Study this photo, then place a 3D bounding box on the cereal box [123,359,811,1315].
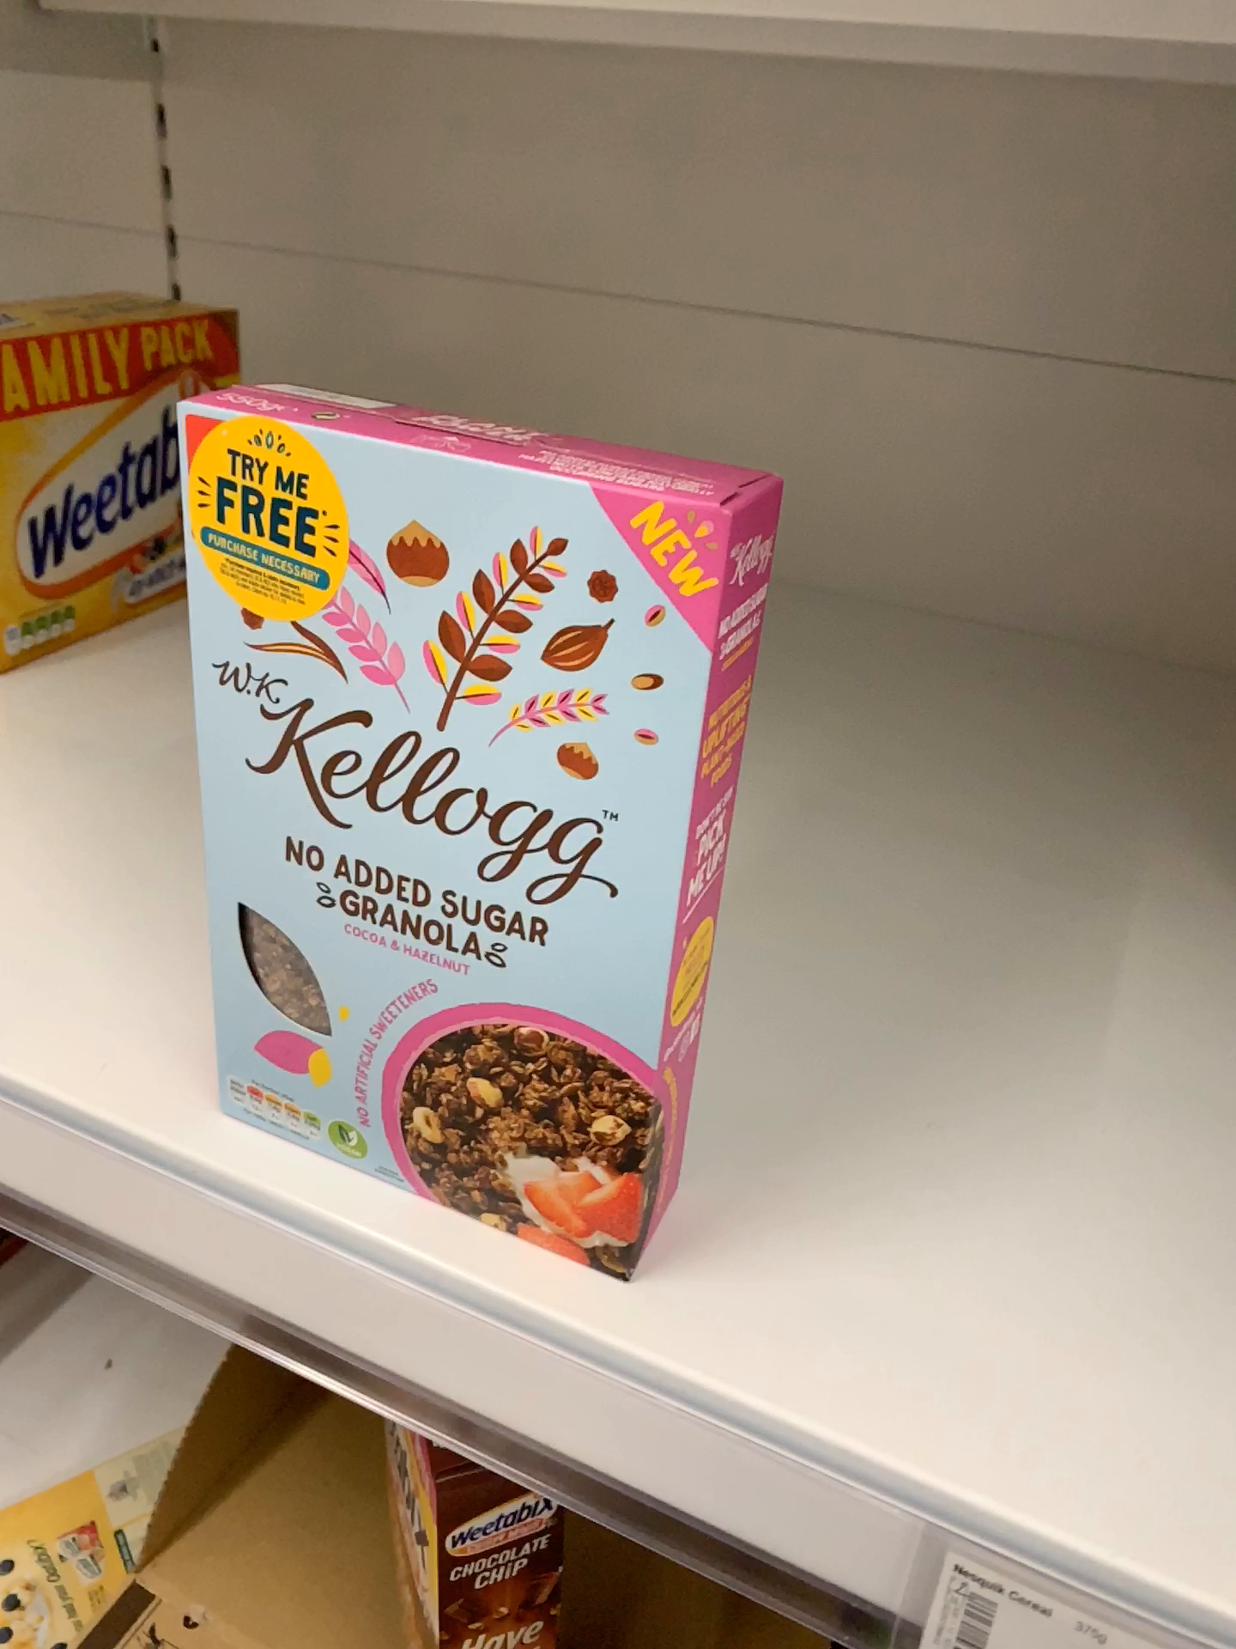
[{"bbox_3d":[-0.050,0.007,0.379,0.170,0.248,0.050,16,30,20],"label":"cereal box"}]
